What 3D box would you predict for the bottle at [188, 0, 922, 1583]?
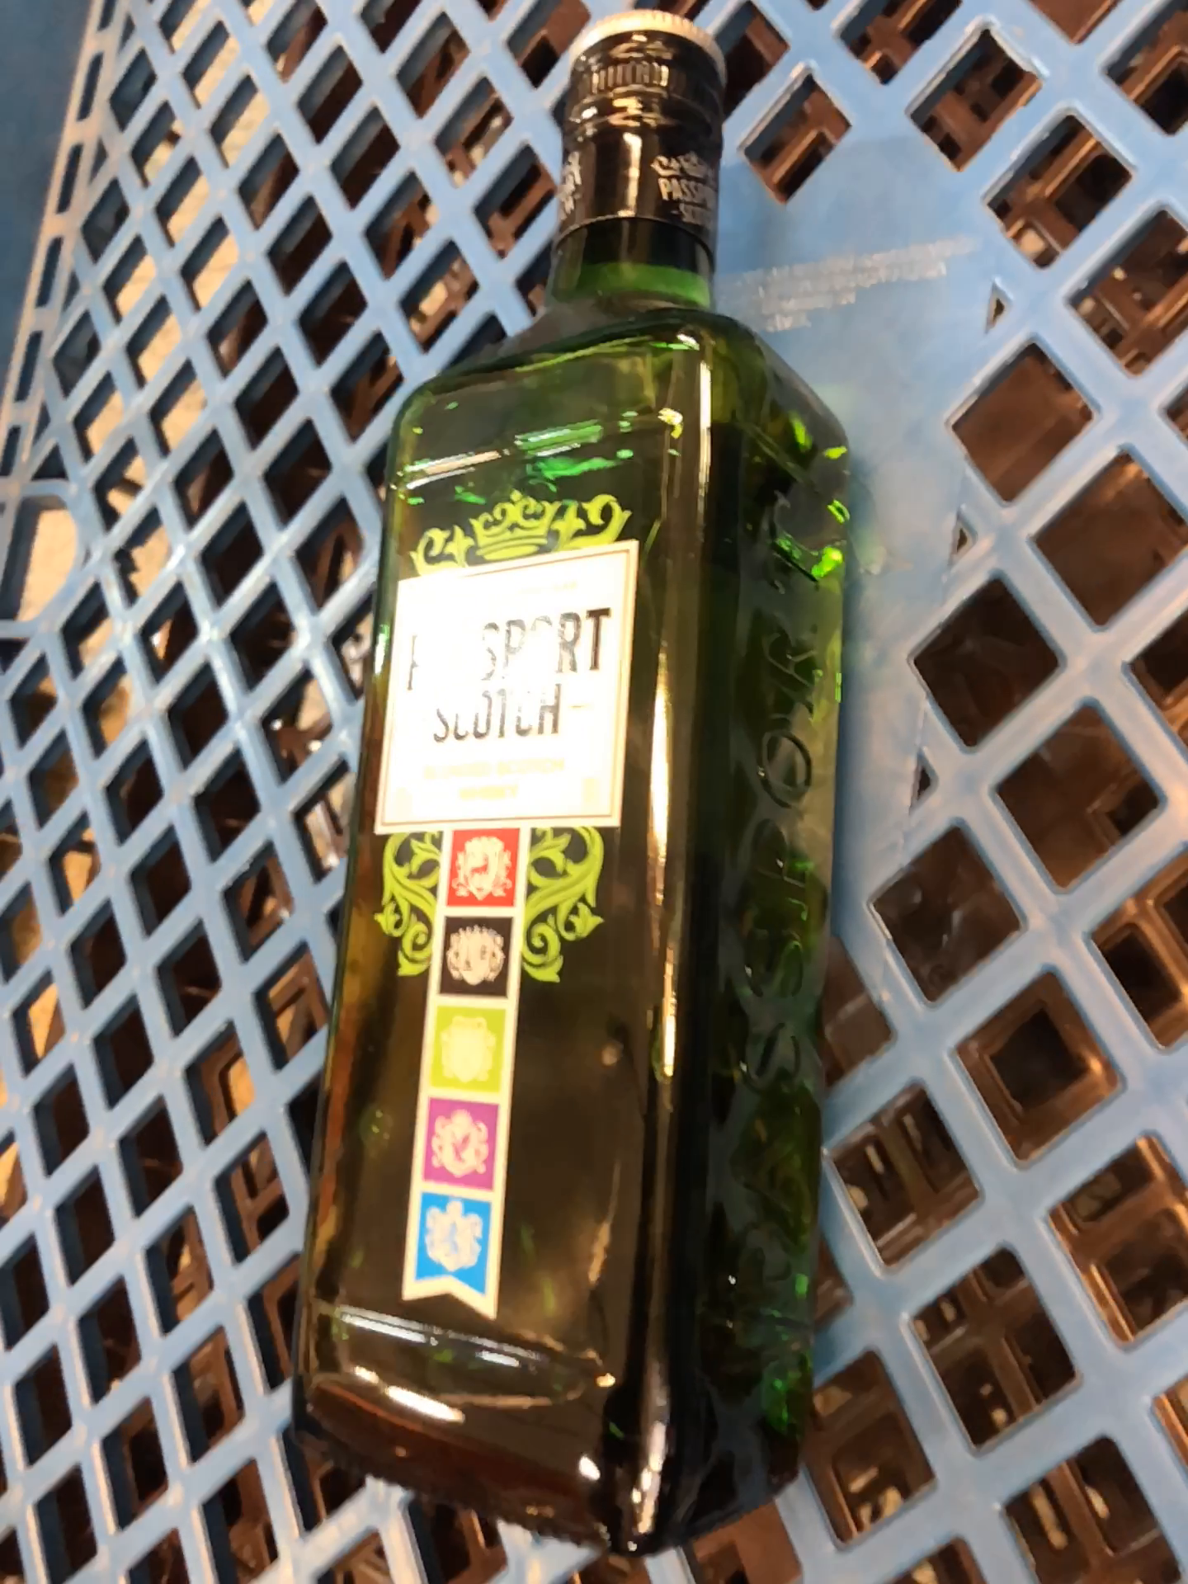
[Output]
[{"bbox_3d":[0.001,-0.031,0.231,0.080,0.070,0.280,-4,77,36],"label":"bottle"}]
